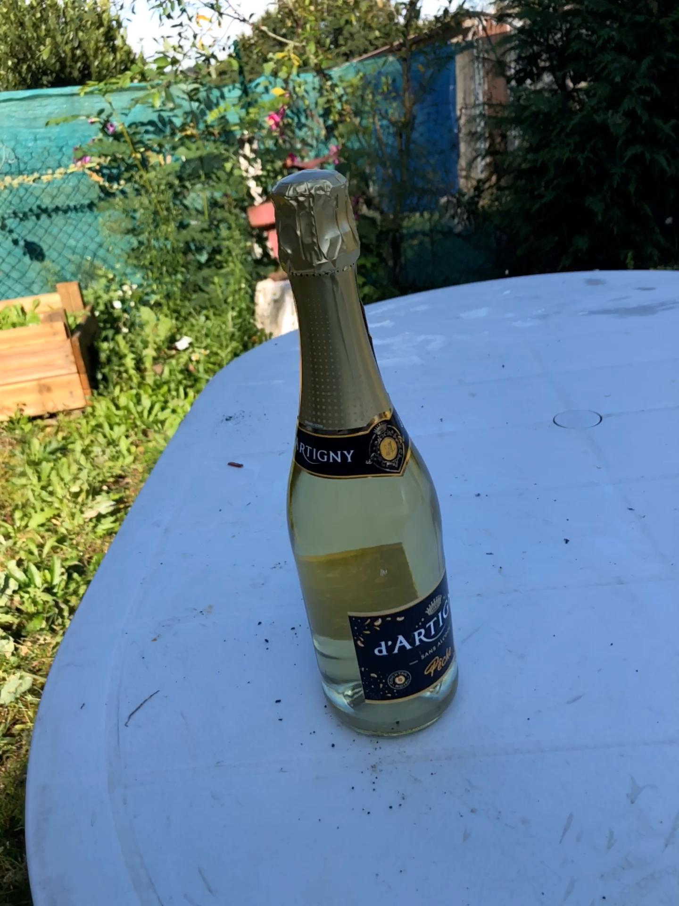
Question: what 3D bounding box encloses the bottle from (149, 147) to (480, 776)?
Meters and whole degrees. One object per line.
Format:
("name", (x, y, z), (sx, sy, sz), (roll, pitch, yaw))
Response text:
("bottle", (0.001, 0.010, 0.385), (0.090, 0.298, 0.090), (-7, 27, 4))
